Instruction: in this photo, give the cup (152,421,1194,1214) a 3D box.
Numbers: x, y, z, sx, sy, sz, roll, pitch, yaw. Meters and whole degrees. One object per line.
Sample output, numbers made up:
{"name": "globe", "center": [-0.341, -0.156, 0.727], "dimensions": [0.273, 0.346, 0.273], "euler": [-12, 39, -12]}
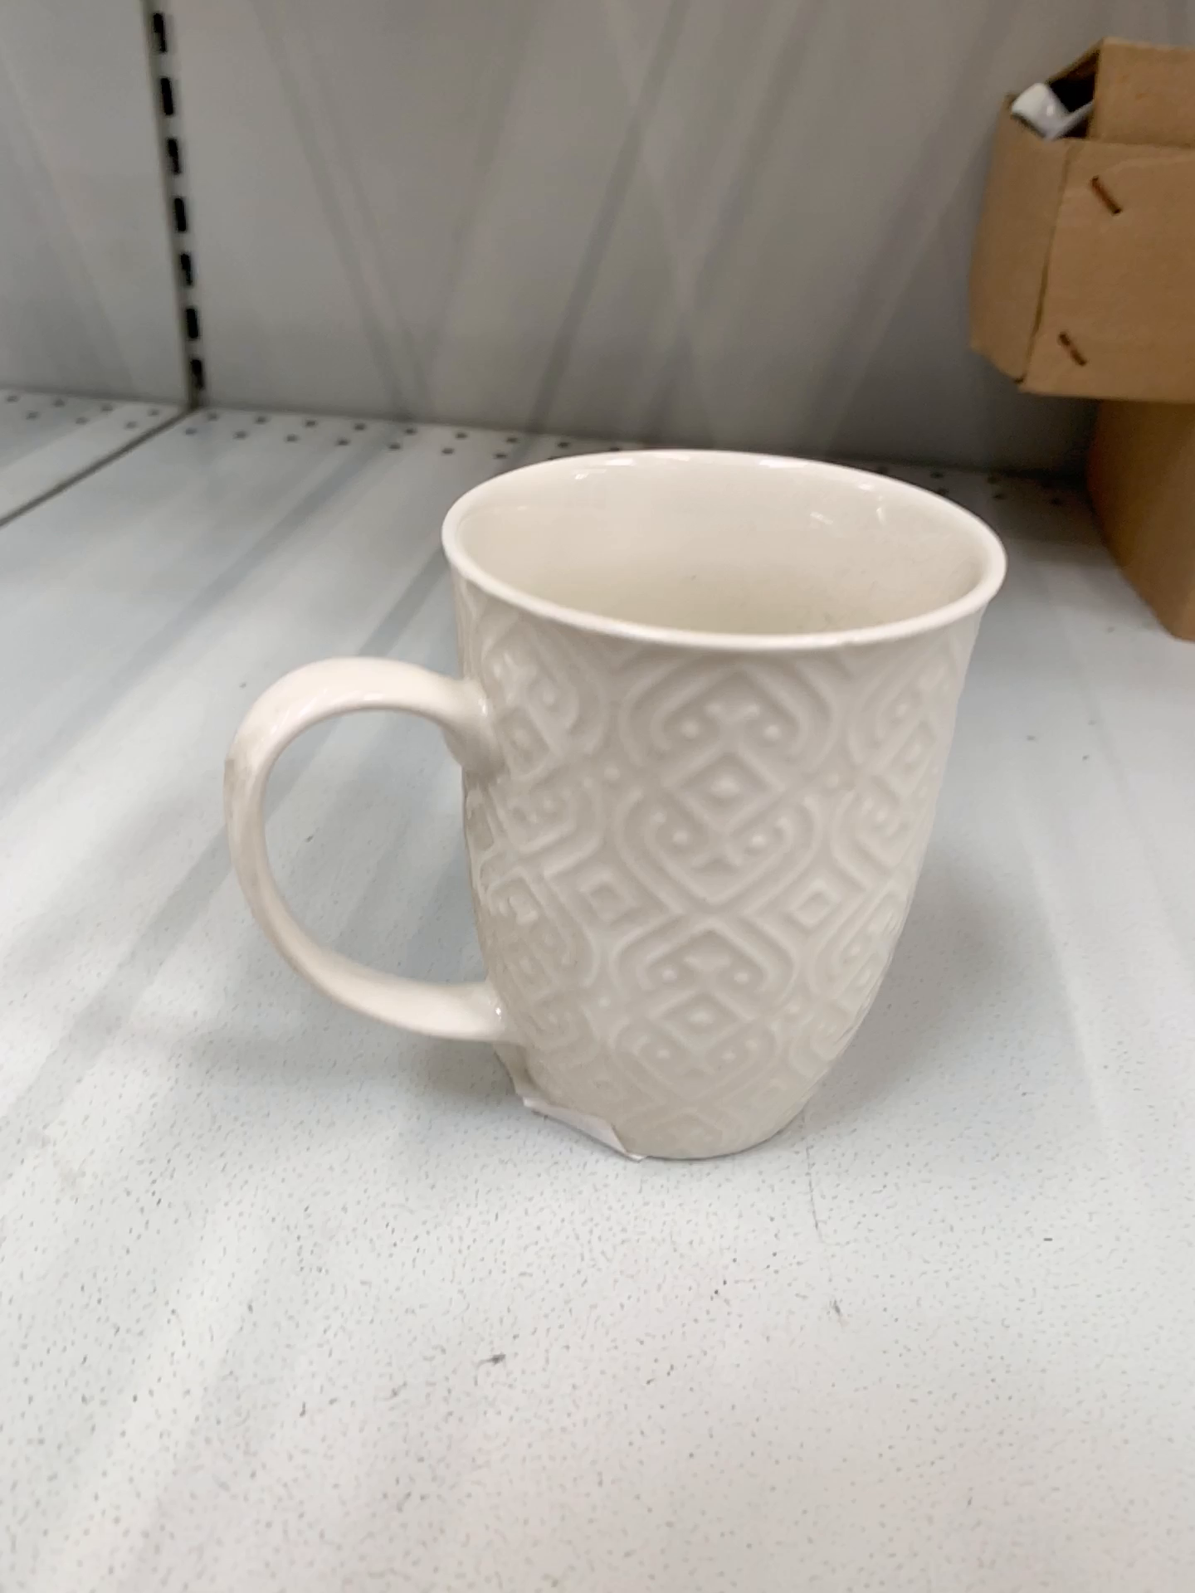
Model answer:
{"name": "cup", "center": [0.008, -0.001, 0.214], "dimensions": [0.131, 0.098, 0.092], "euler": [0, 31, -6]}
